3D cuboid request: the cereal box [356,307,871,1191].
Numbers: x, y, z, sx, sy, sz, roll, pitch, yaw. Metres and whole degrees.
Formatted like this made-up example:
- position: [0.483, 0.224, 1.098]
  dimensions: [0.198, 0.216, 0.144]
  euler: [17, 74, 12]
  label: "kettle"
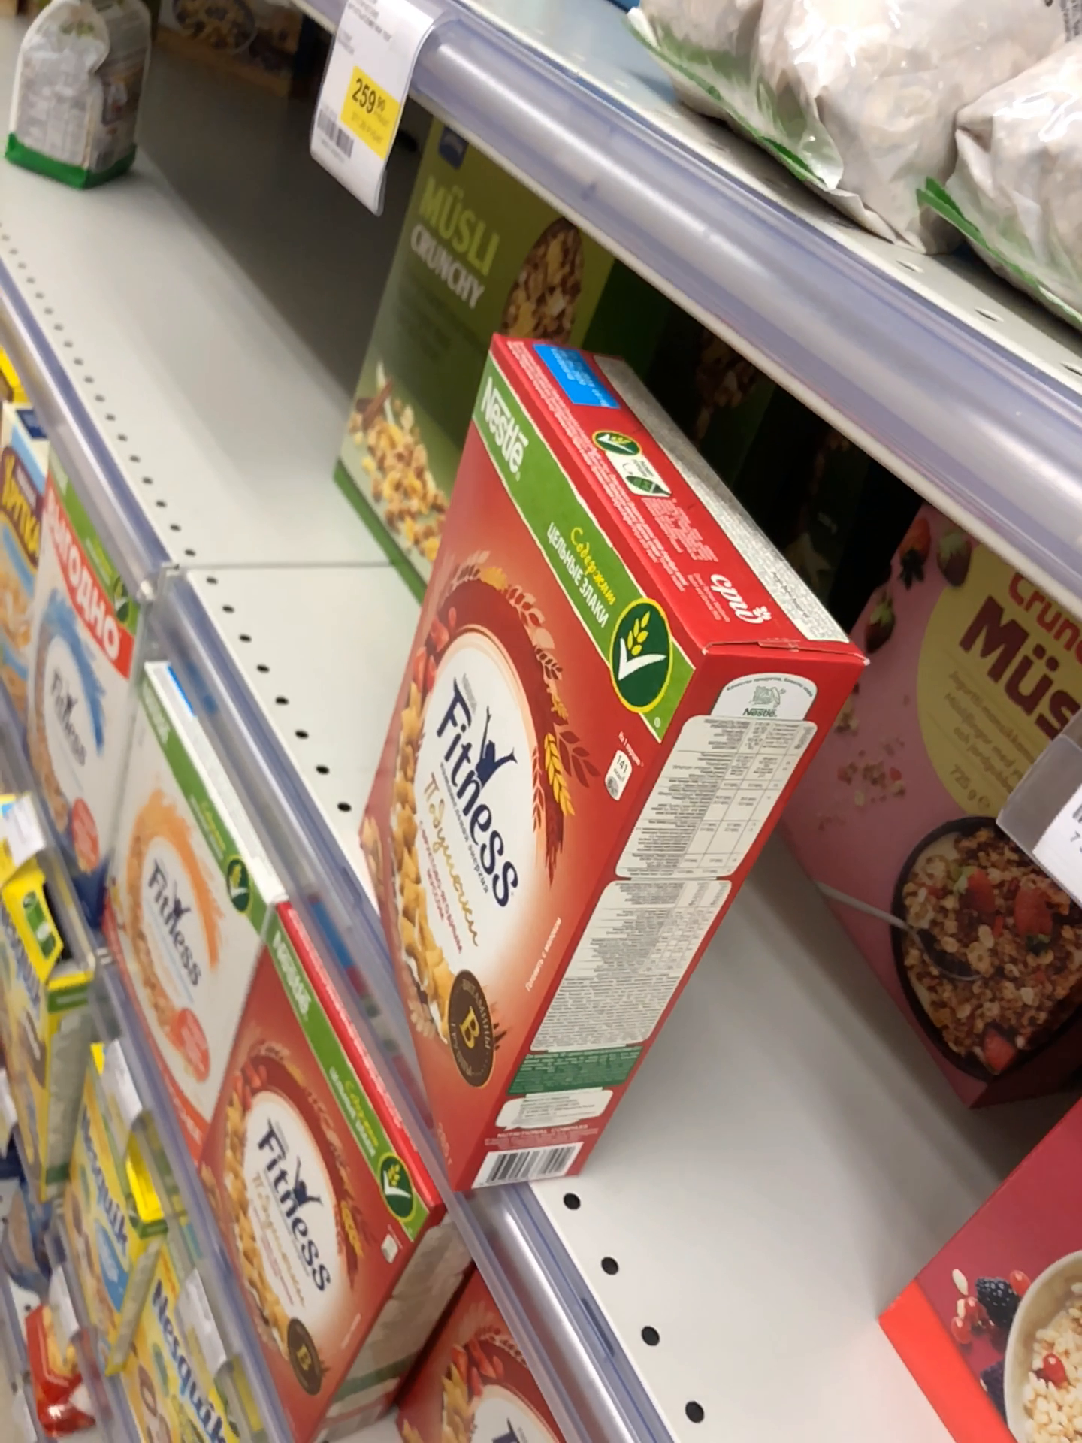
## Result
- position: [-0.001, 0.012, 0.416]
  dimensions: [0.050, 0.238, 0.181]
  euler: [2, 39, -23]
  label: "cereal box"
